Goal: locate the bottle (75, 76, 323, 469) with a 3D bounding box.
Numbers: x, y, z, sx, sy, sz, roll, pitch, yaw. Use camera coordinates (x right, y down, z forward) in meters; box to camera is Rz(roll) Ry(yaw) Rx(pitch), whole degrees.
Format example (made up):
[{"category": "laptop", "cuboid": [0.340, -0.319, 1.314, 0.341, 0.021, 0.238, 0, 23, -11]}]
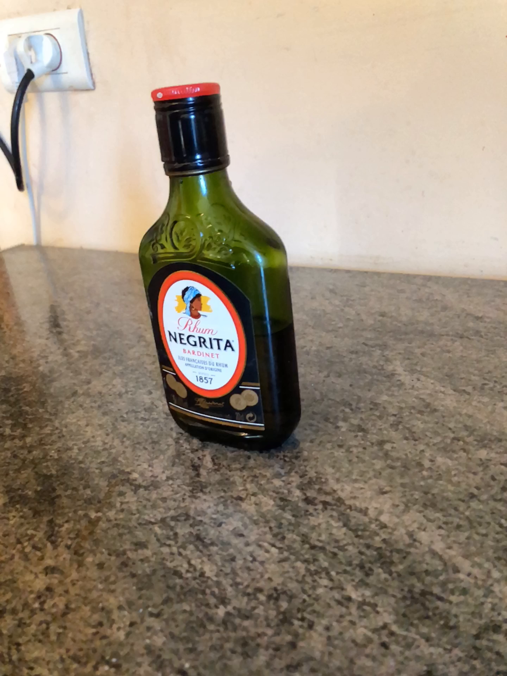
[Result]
[{"category": "bottle", "cuboid": [-0.019, -0.029, 0.260, 0.080, 0.159, 0.050, 8, 26, 30]}]
